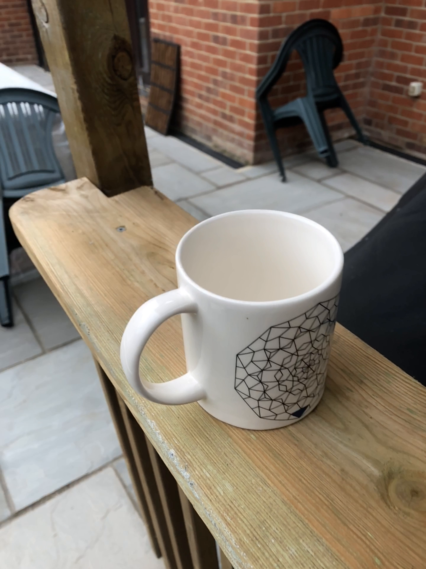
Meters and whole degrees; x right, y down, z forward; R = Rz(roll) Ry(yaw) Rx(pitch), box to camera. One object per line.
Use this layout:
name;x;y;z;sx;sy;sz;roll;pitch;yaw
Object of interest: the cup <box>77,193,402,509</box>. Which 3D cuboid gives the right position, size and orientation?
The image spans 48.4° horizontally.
cup;0.014;0.024;0.255;0.130;0.089;0.090;-23;40;-29
